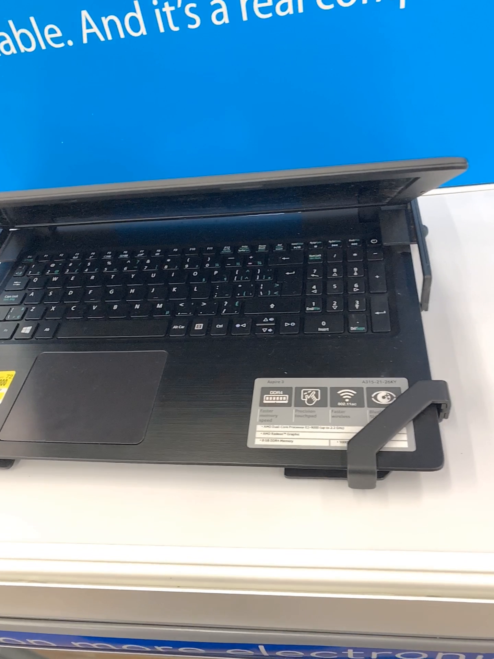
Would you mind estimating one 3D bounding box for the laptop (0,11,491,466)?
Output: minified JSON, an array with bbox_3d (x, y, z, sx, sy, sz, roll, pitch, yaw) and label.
[{"bbox_3d":[-0.071,-0.059,0.337,0.364,0.146,0.234,-1,49,11],"label":"laptop"}]
